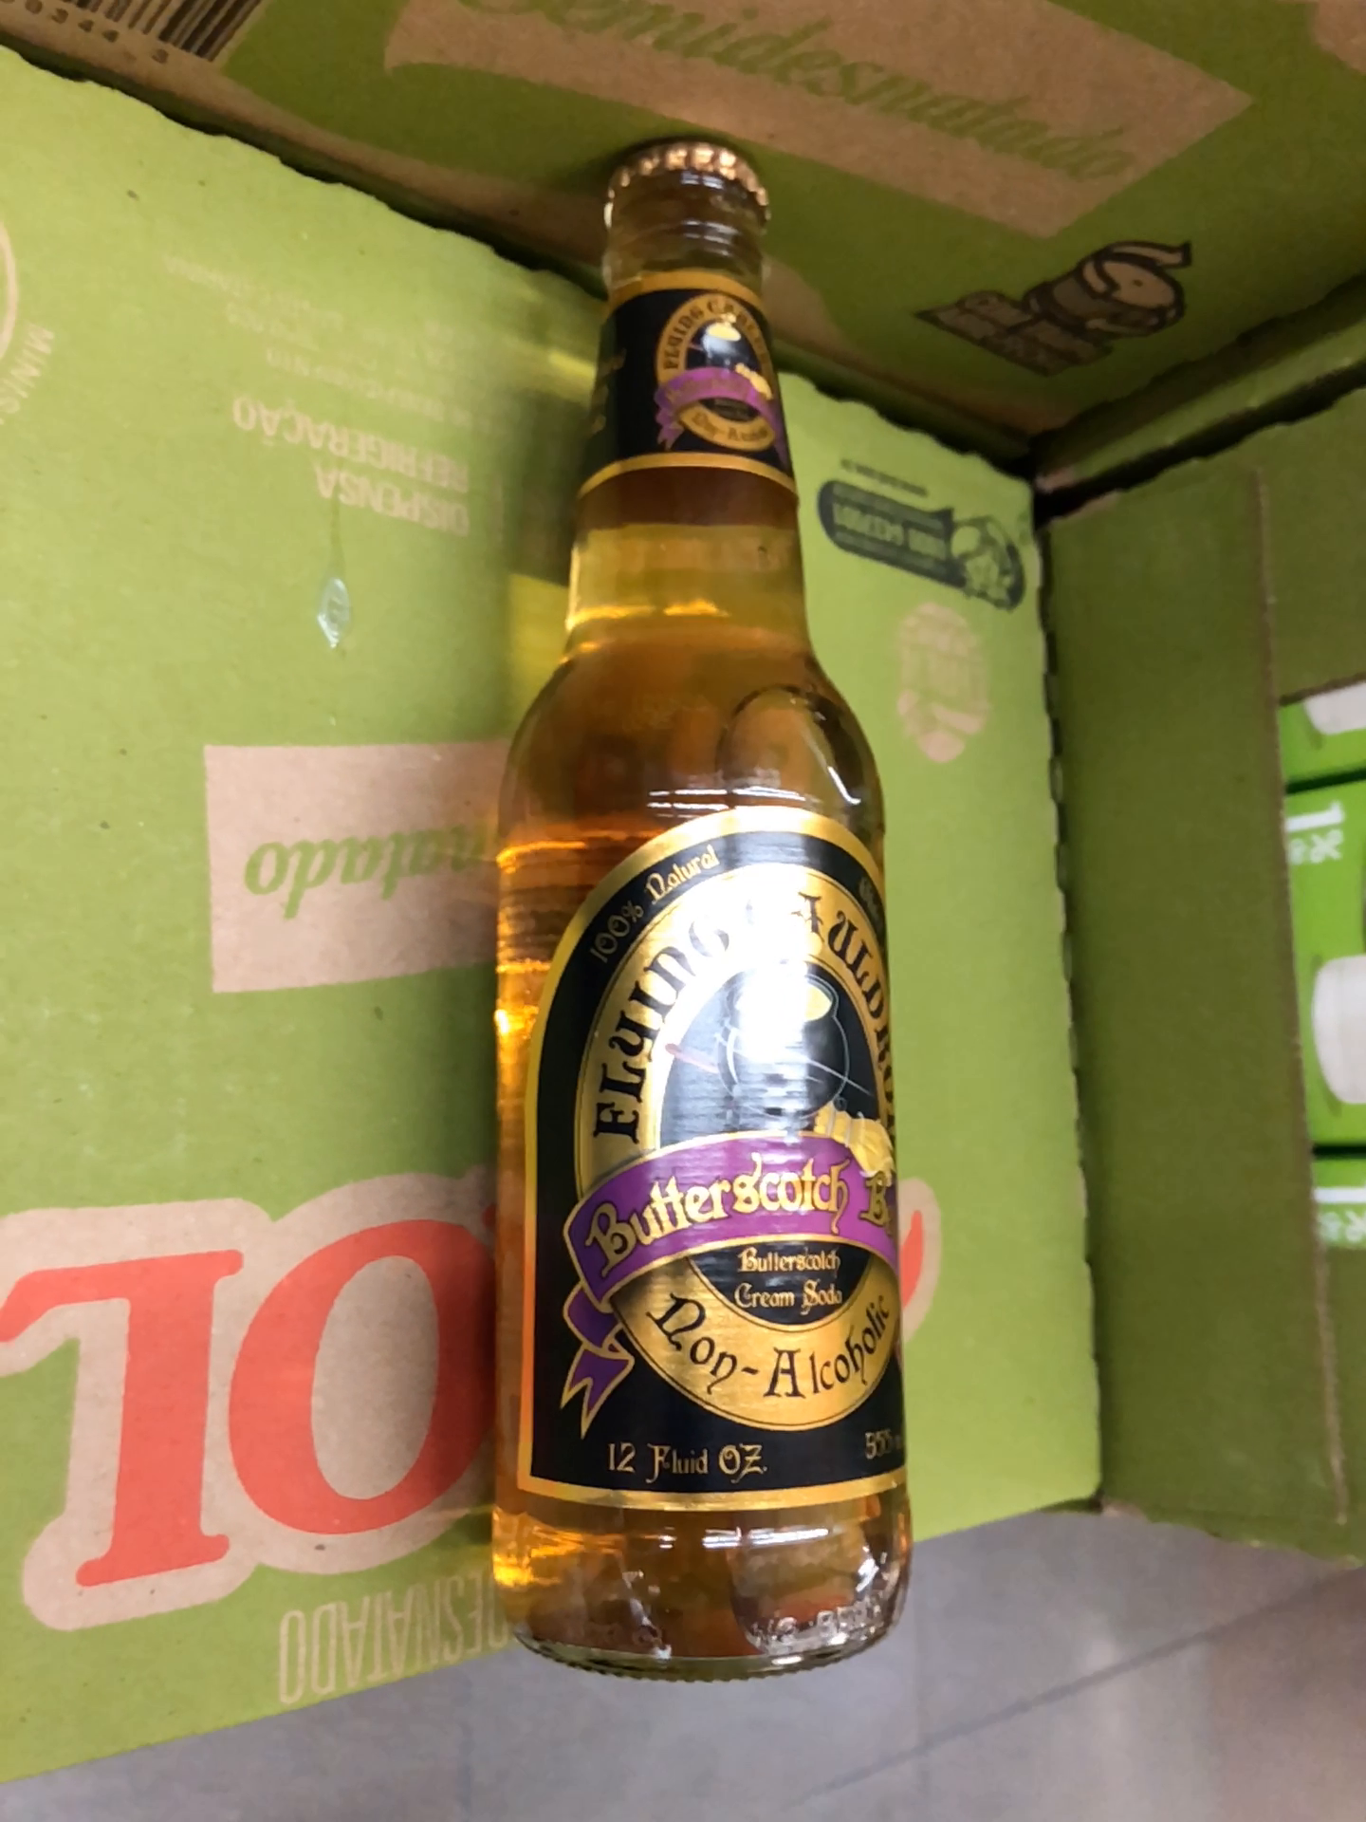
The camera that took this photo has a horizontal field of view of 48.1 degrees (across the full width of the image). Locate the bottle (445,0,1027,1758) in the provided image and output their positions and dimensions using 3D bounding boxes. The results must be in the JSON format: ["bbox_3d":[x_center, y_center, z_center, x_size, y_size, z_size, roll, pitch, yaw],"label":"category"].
[{"bbox_3d":[0.006,-0.021,0.244,0.070,0.050,0.260,6,79,-40],"label":"bottle"}]
